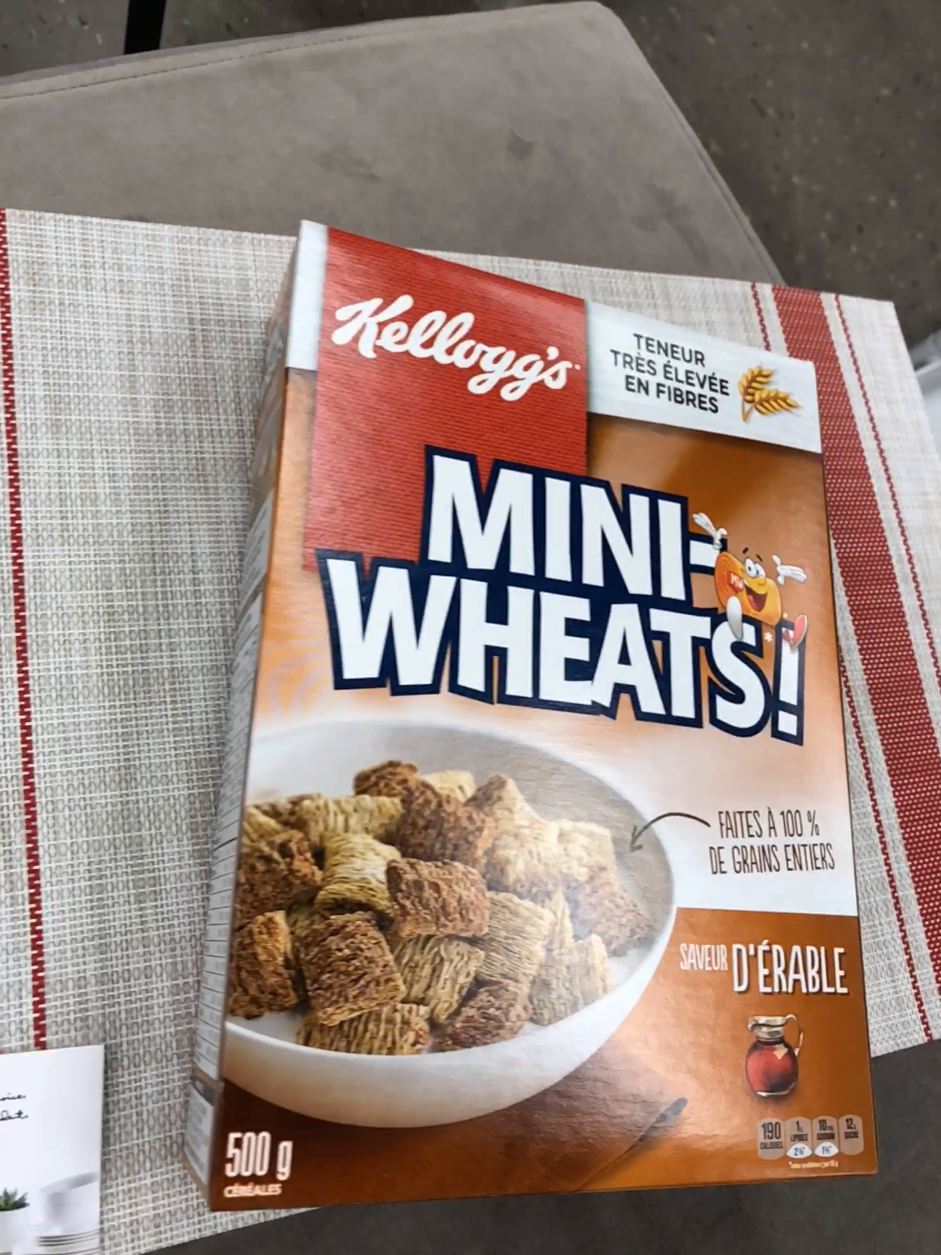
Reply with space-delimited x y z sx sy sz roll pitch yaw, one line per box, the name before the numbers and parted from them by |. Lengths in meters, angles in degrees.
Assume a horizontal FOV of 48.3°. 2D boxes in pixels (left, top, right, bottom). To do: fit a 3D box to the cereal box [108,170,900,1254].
cereal box | 0.018 0.023 0.328 0.210 0.060 0.280 9 72 -20
